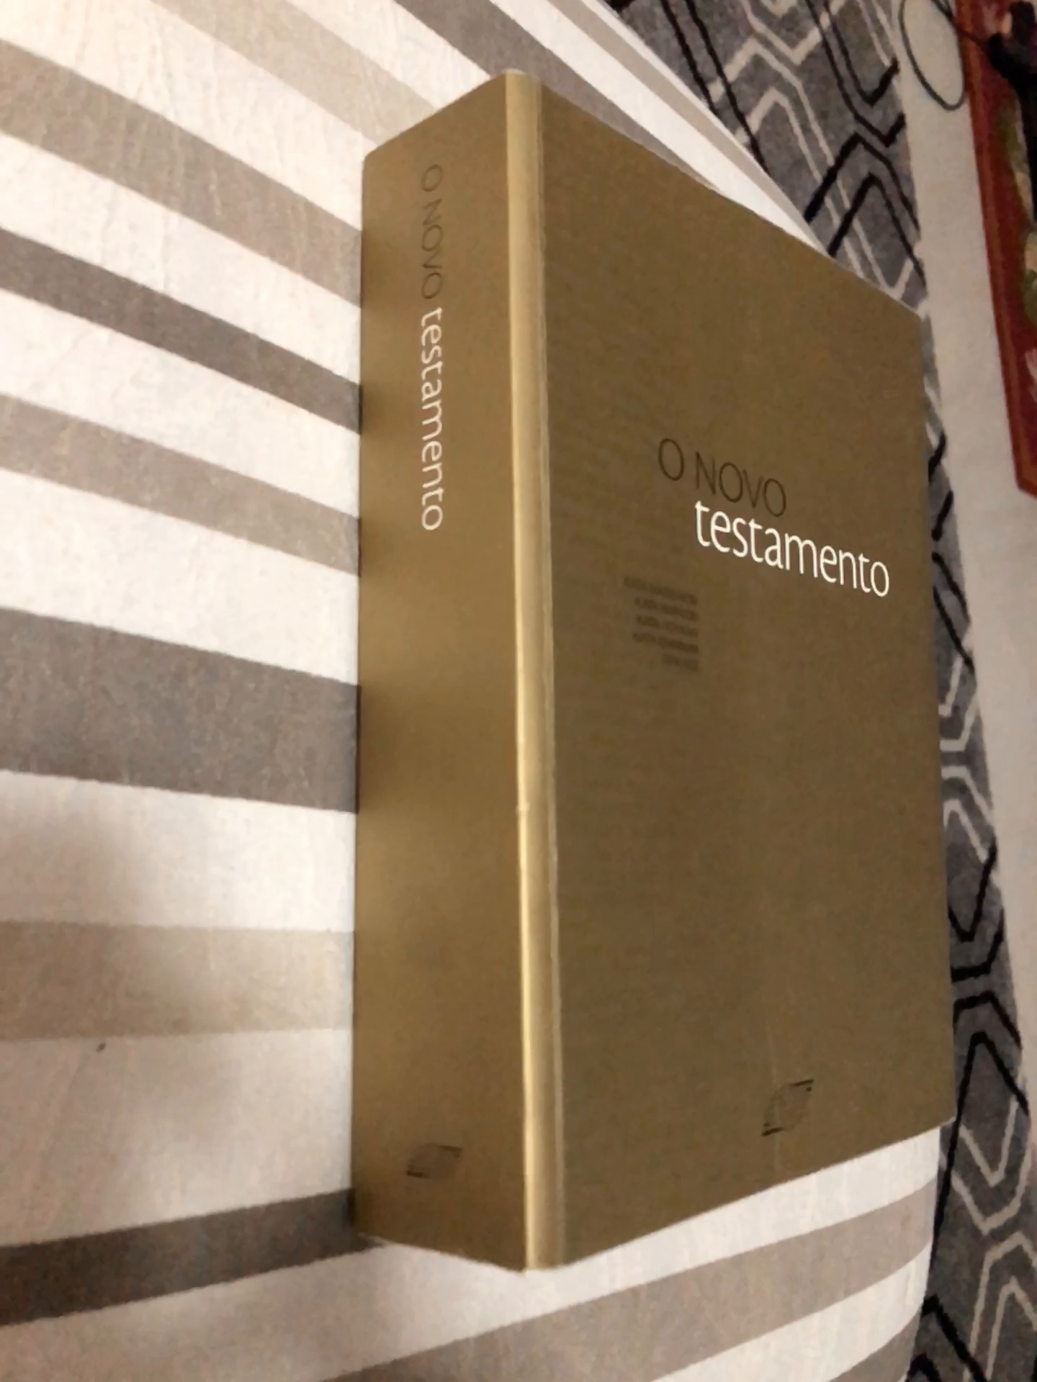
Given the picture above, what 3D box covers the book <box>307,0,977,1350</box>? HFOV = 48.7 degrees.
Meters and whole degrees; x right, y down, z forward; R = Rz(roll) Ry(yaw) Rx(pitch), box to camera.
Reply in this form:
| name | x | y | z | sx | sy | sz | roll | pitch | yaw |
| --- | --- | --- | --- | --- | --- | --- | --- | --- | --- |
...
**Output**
| name | x | y | z | sx | sy | sz | roll | pitch | yaw |
| --- | --- | --- | --- | --- | --- | --- | --- | --- | --- |
| book | 0.033 | -0.008 | 0.258 | 0.161 | 0.050 | 0.230 | 9 | 75 | -46 |
